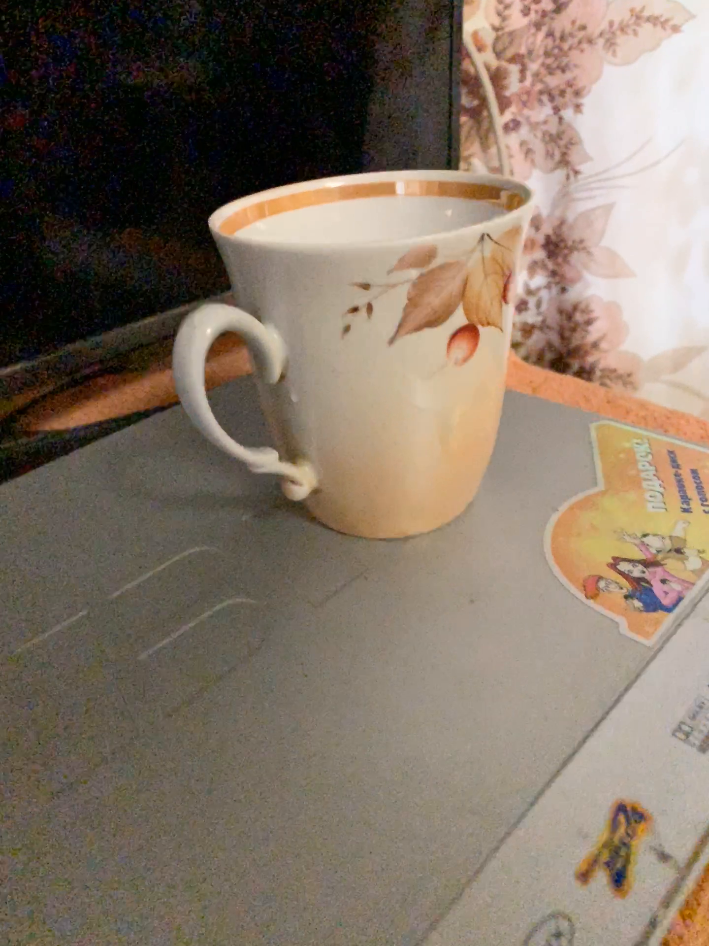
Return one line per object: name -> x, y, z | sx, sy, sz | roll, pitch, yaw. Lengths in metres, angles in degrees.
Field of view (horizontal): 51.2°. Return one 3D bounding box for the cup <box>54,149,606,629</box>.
cup -> -0.002, -0.039, 0.223 | 0.100, 0.091, 0.113 | 22, 39, 38
